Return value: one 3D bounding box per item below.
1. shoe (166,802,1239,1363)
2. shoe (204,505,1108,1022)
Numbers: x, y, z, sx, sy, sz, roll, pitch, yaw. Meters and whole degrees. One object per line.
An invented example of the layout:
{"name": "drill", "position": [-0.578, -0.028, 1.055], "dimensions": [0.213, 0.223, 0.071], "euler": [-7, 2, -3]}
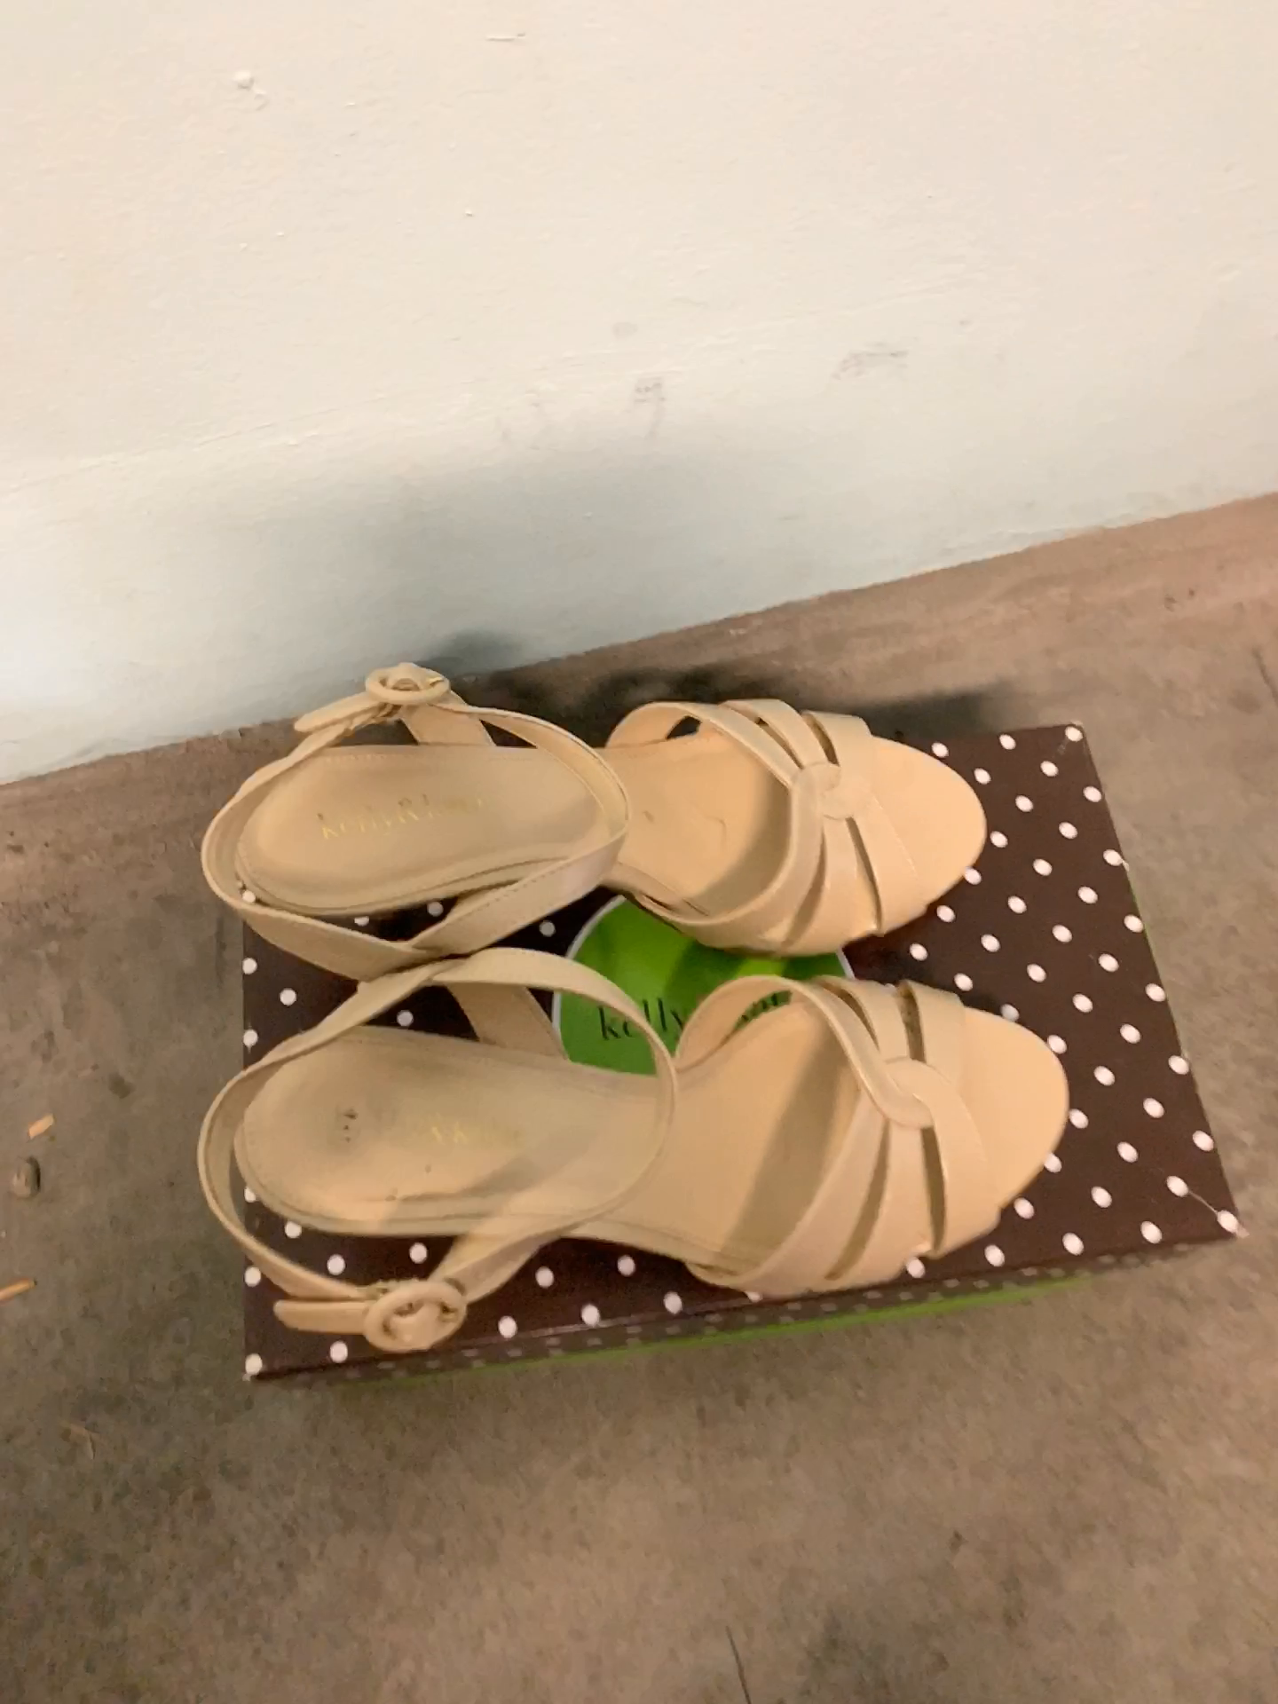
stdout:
{"name": "shoe", "position": [0.011, 0.068, 0.363], "dimensions": [0.240, 0.109, 0.101], "euler": [-6, 64, -3]}
{"name": "shoe", "position": [0.001, -0.024, 0.418], "dimensions": [0.240, 0.109, 0.101], "euler": [-6, 64, -3]}
